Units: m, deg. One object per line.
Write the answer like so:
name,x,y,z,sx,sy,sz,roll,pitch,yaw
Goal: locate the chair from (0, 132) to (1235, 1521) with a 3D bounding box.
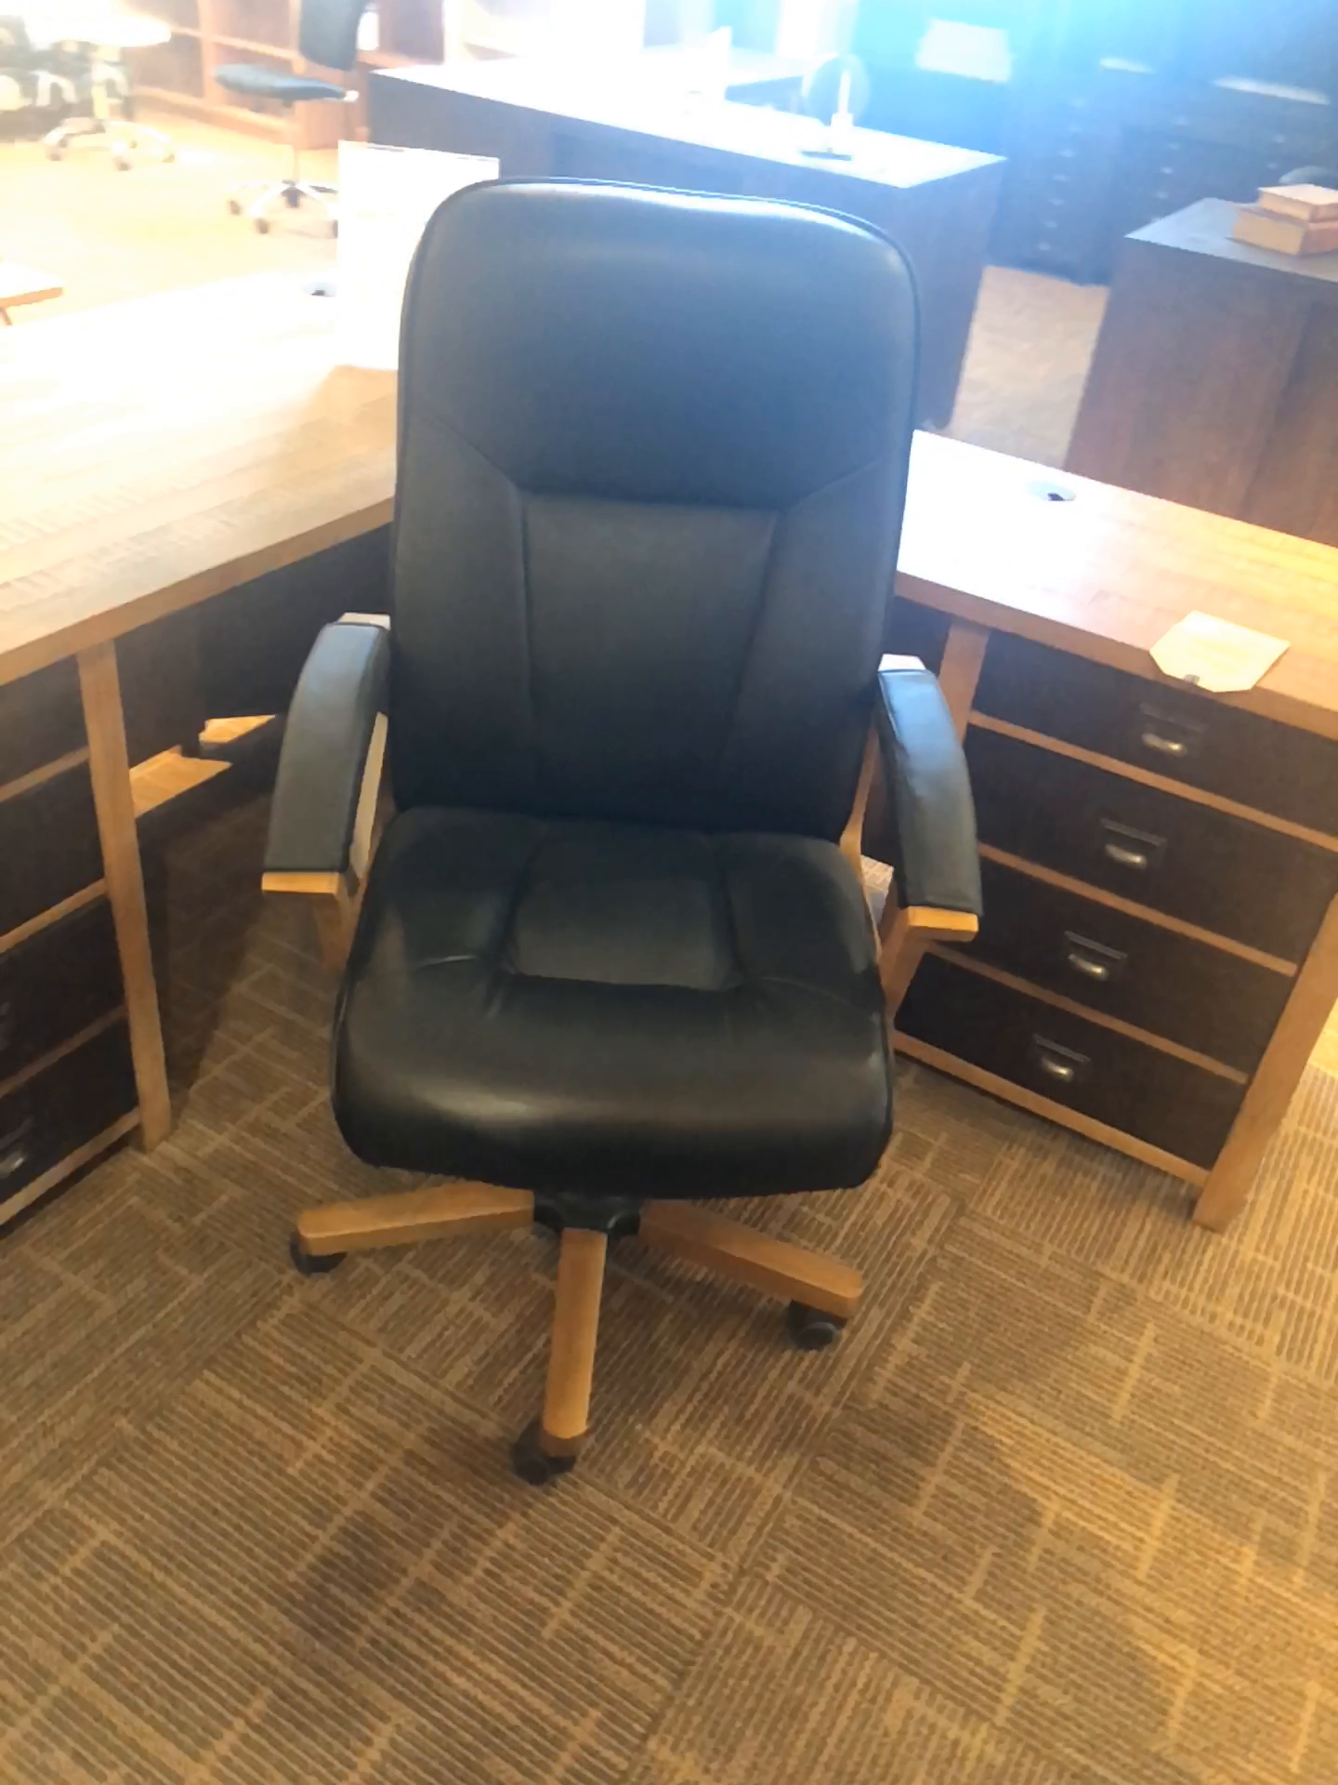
chair,-0.075,-0.051,1.482,0.738,1.104,0.745,6,36,-2
